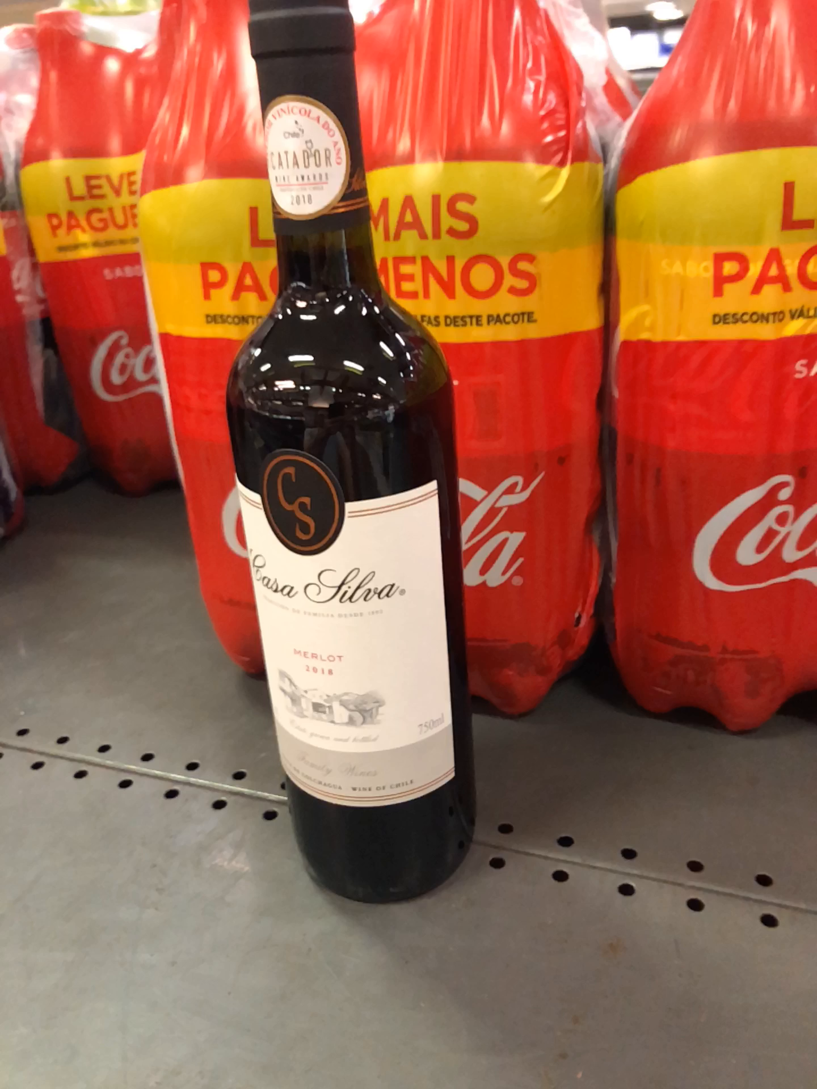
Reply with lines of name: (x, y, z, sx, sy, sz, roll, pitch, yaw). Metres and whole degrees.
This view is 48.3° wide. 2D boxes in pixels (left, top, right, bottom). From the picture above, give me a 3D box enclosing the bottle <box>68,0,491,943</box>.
bottle: (-0.024, -0.014, 0.304, 0.080, 0.308, 0.070, 6, 27, 19)
